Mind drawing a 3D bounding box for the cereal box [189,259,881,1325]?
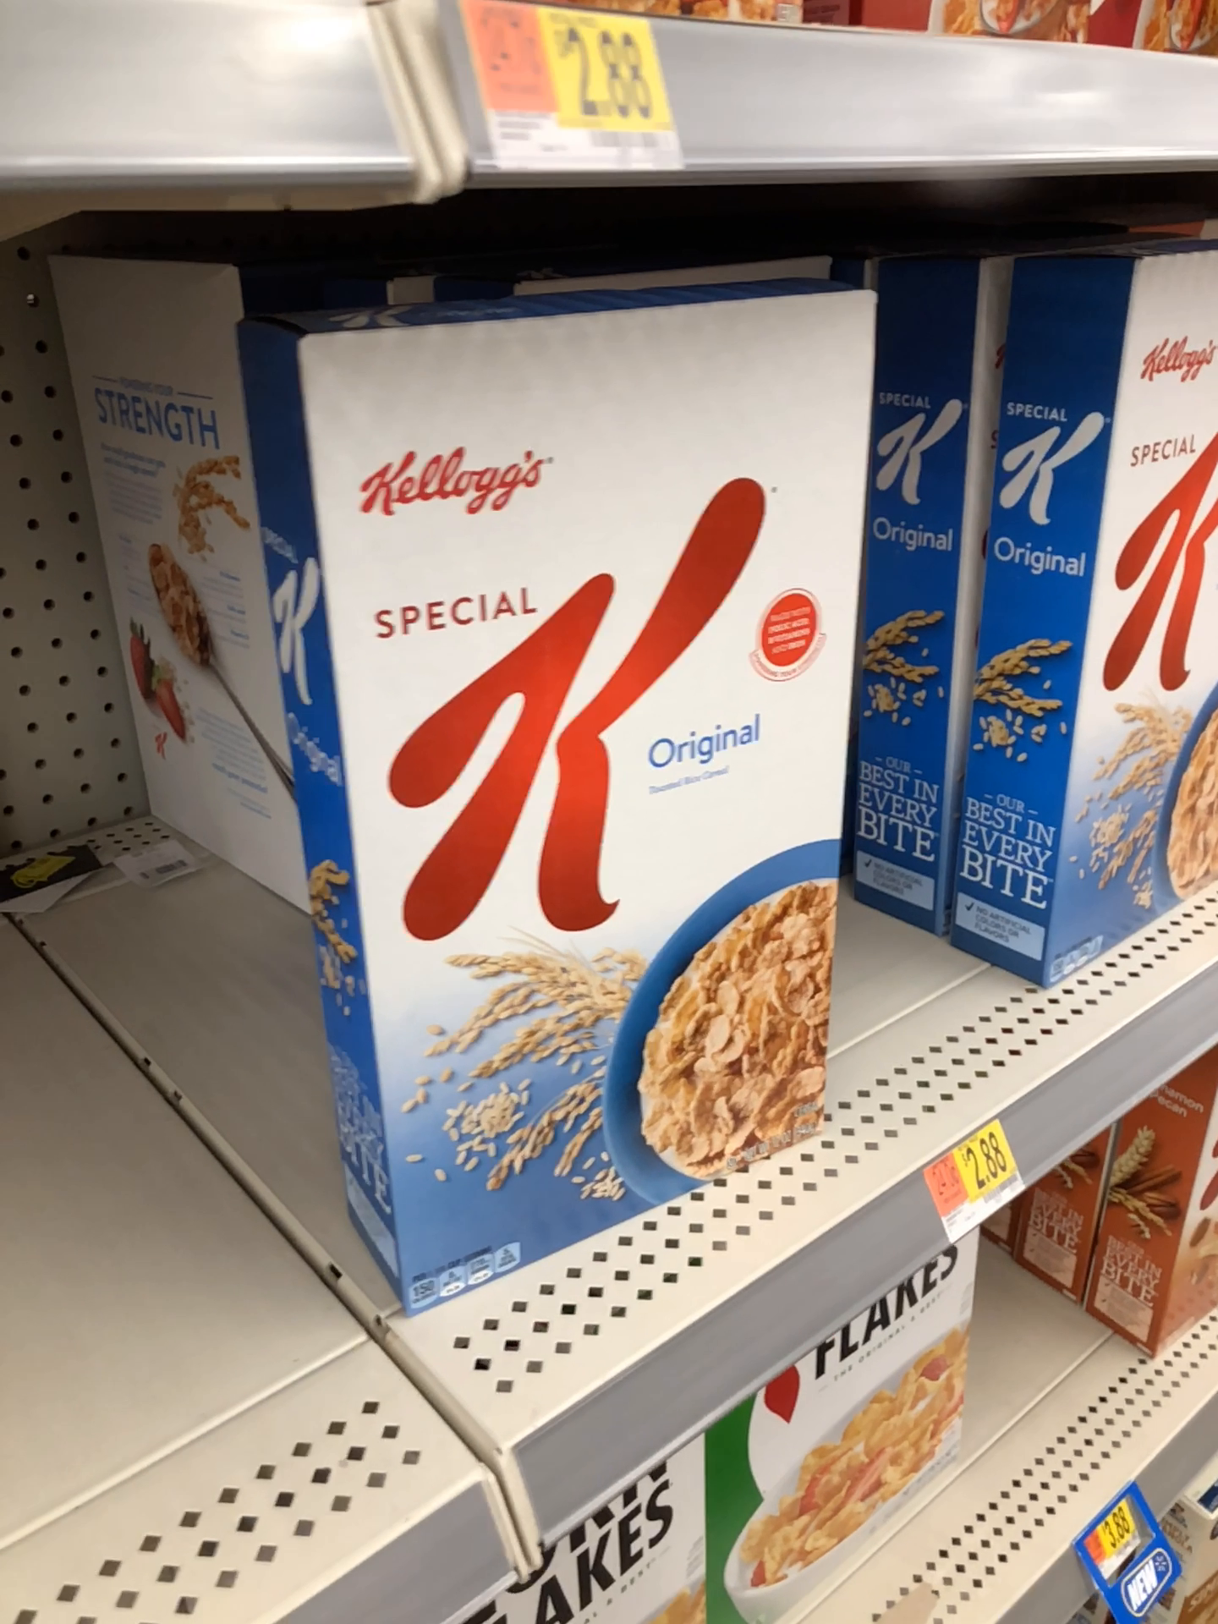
[{"bbox_3d":[-0.016,-0.010,0.469,0.190,0.329,0.080,-15,29,-28],"label":"cereal box"}]
